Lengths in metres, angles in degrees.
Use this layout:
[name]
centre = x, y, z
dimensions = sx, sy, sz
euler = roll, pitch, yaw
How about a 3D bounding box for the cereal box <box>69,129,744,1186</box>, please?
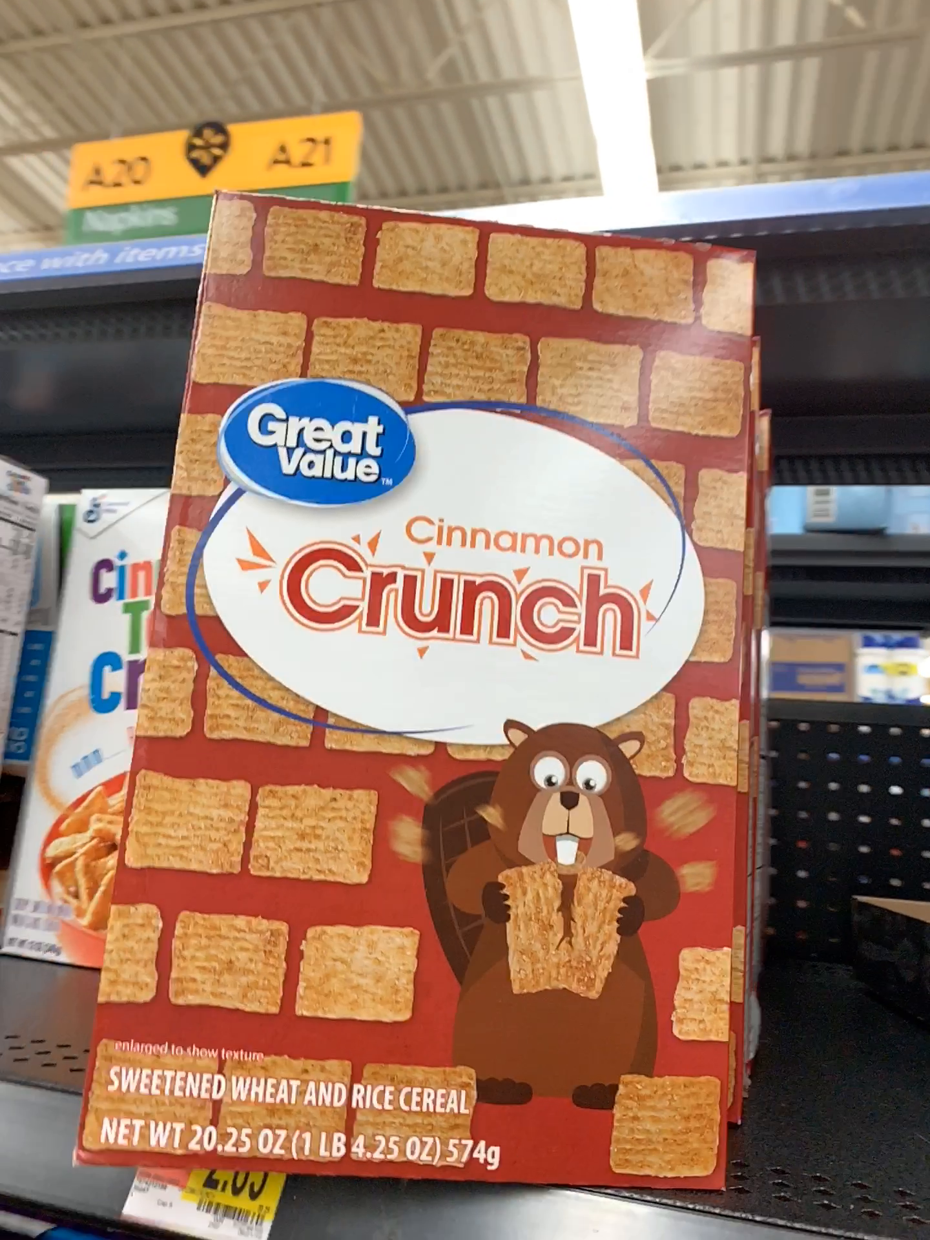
[cereal box]
centre = -0.008, 0.006, 0.347
dimensions = 0.190, 0.331, 0.070
euler = 6, -12, -7
